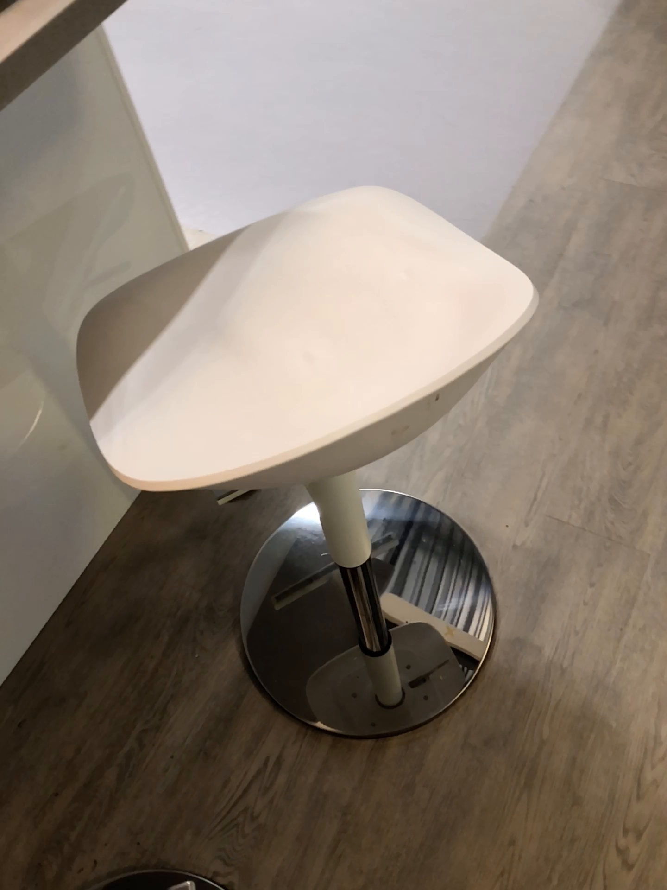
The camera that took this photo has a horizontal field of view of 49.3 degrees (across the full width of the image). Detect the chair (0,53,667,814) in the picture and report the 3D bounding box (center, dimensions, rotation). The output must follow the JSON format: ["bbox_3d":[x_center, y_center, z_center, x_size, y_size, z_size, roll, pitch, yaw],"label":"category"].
[{"bbox_3d":[0.008,0.058,0.868,0.440,0.716,0.442,-29,57,-11],"label":"chair"}]
